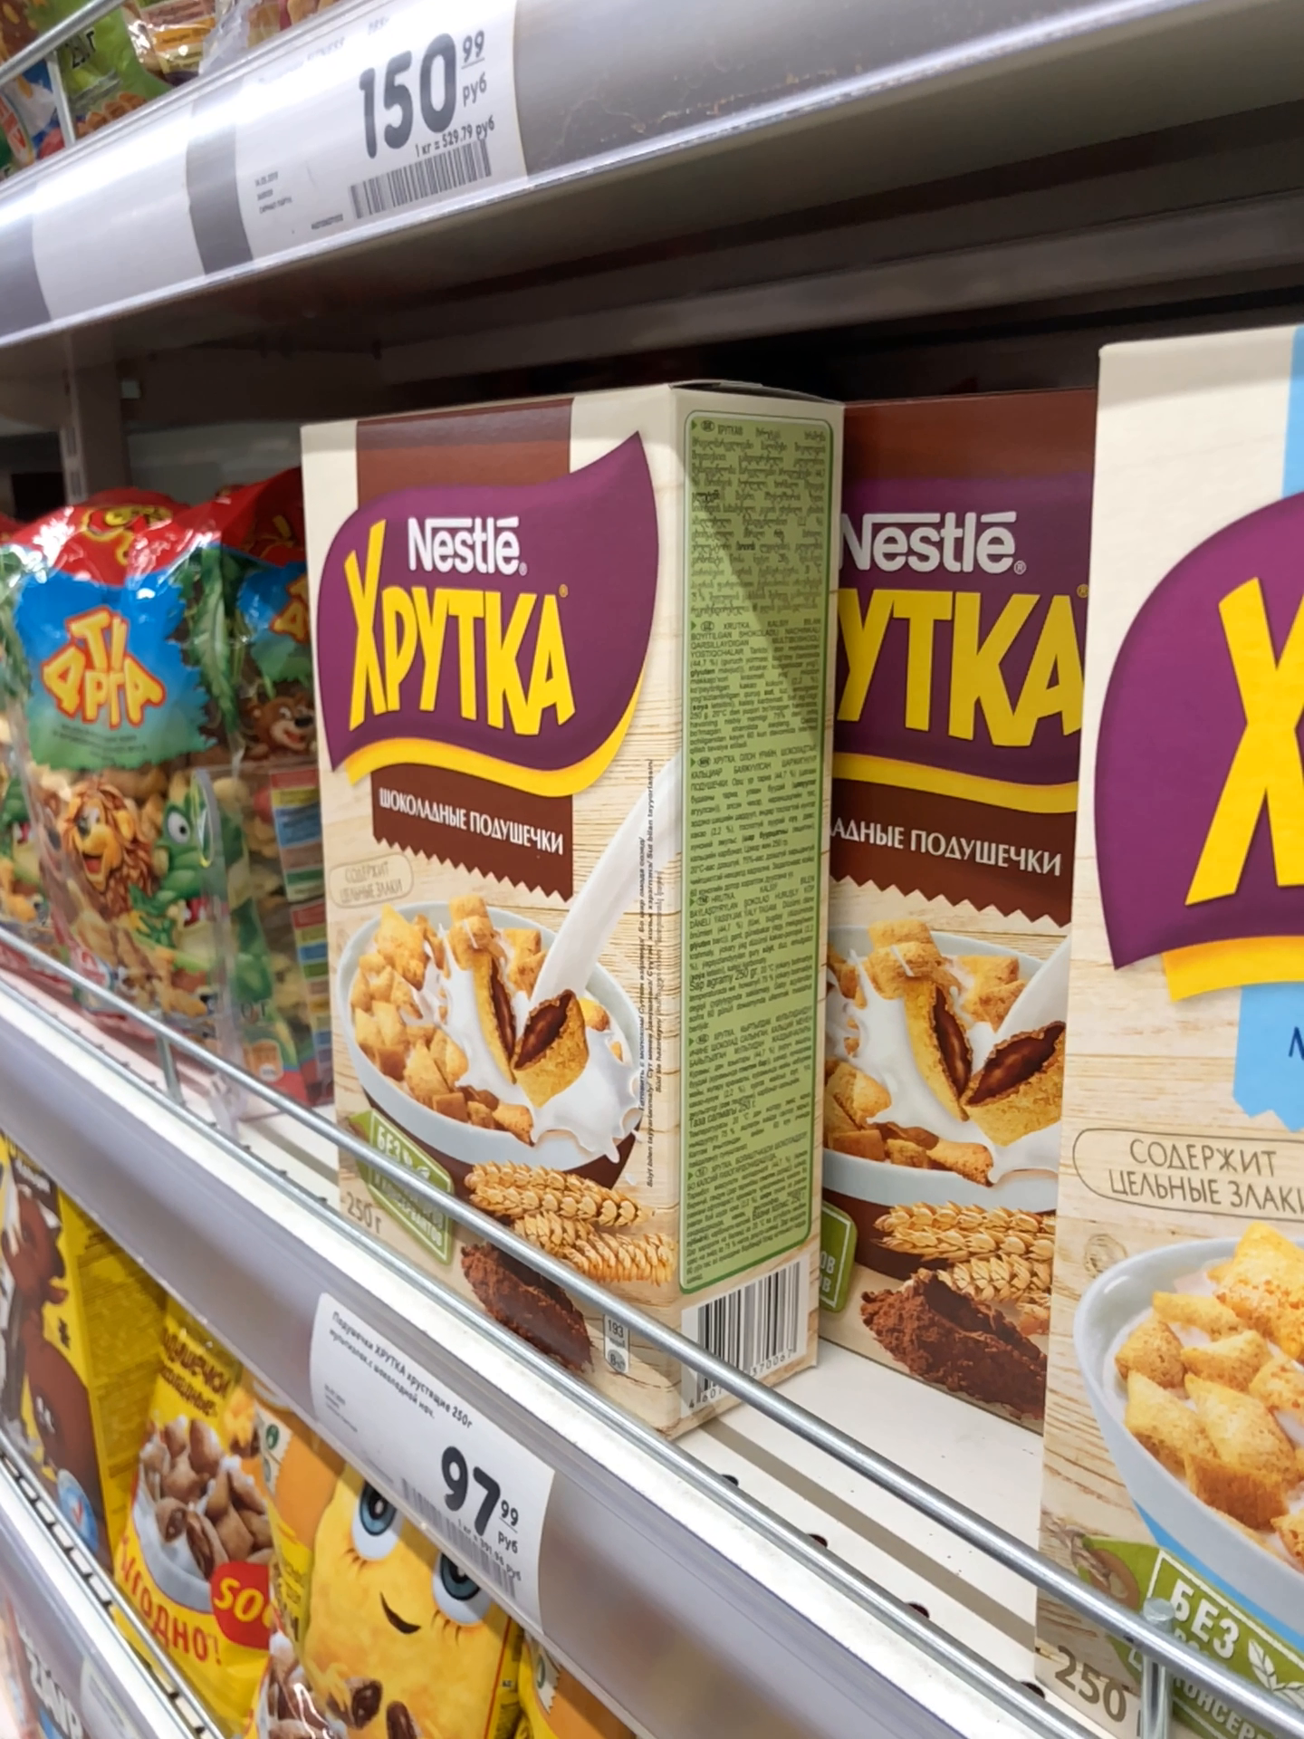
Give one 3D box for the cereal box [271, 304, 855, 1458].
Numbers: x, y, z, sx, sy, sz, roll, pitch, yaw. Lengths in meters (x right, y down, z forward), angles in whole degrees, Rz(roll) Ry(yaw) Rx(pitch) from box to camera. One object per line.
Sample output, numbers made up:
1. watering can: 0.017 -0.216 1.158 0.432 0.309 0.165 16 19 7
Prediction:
1. cereal box: -0.030 -0.006 0.342 0.040 0.219 0.160 -9 16 -39
